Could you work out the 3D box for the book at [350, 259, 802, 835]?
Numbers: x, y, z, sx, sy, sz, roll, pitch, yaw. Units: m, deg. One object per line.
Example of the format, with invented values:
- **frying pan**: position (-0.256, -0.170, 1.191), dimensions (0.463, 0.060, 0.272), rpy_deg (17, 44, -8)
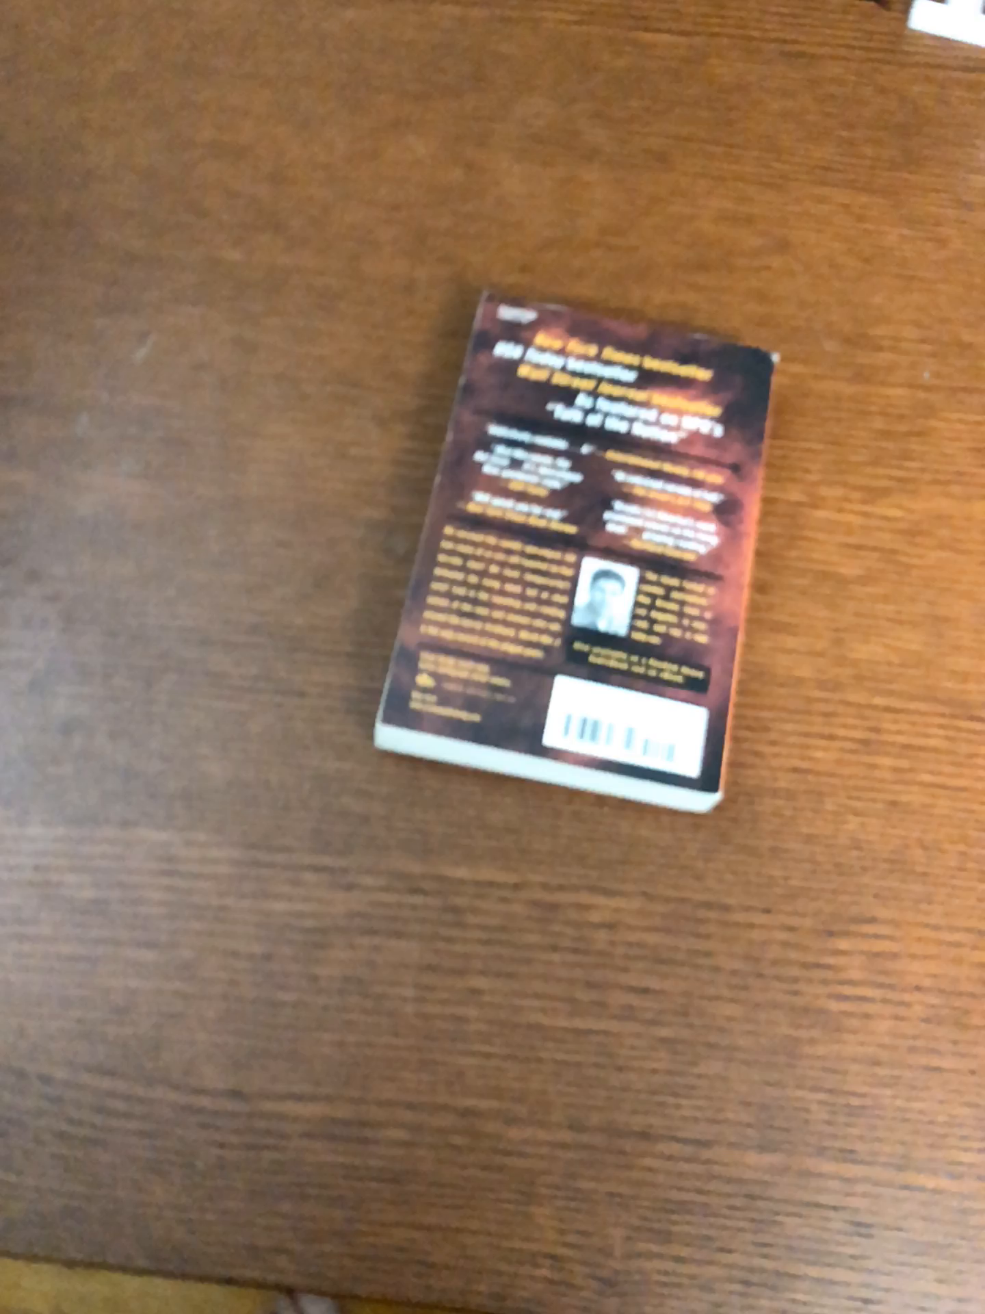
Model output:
- **book**: position (0.040, -0.052, 0.450), dimensions (0.140, 0.030, 0.221), rpy_deg (13, 69, 2)
